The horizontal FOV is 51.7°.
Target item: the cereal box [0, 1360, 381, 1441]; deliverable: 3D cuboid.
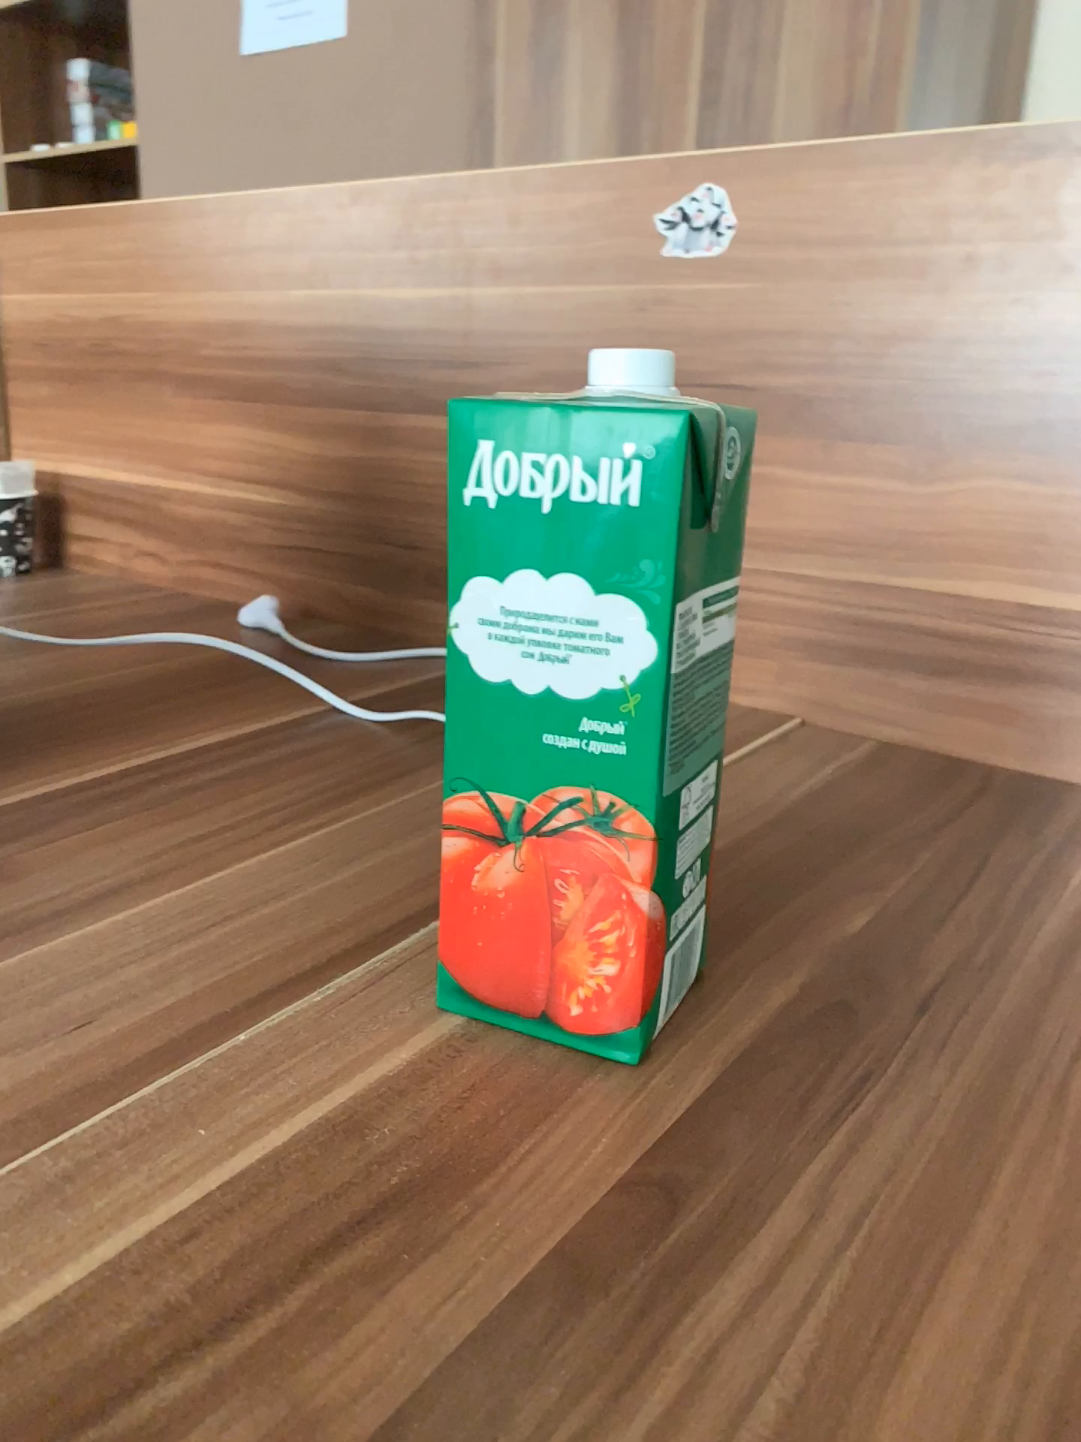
[{"bbox_3d":[-0.336,0.660,0.105,0.590,0.837,0.612,1,17,-4],"label":"cereal box"}]
